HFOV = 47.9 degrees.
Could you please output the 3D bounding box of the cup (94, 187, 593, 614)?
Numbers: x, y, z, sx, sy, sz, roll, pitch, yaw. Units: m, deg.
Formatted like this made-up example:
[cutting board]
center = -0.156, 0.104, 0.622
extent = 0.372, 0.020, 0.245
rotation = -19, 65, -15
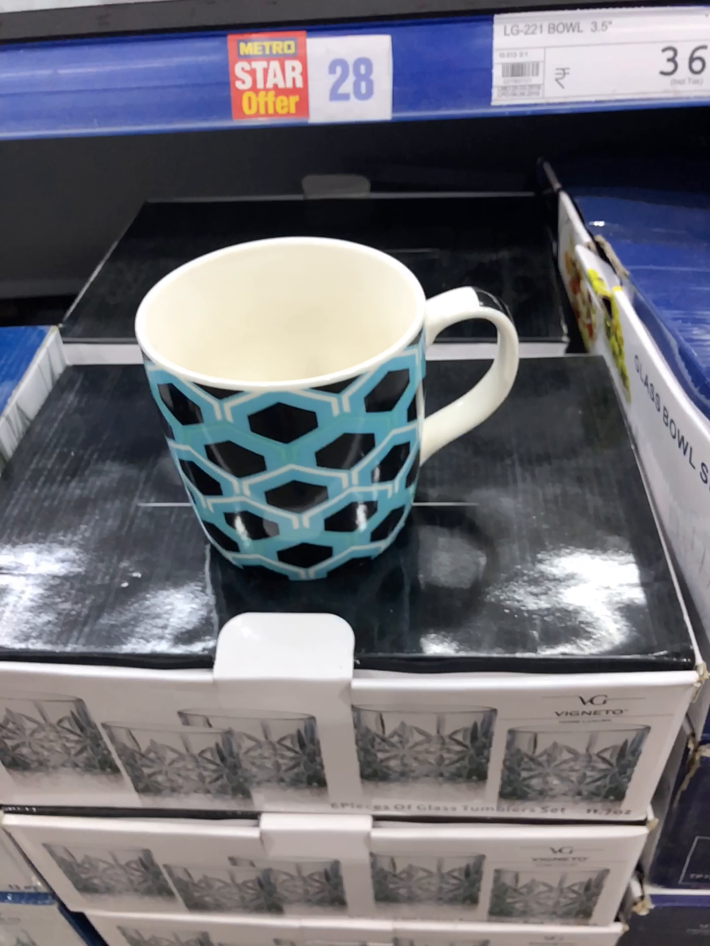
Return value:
[cup]
center = -0.006, -0.027, 0.269
extent = 0.130, 0.090, 0.090
rotation = -9, 41, -5
